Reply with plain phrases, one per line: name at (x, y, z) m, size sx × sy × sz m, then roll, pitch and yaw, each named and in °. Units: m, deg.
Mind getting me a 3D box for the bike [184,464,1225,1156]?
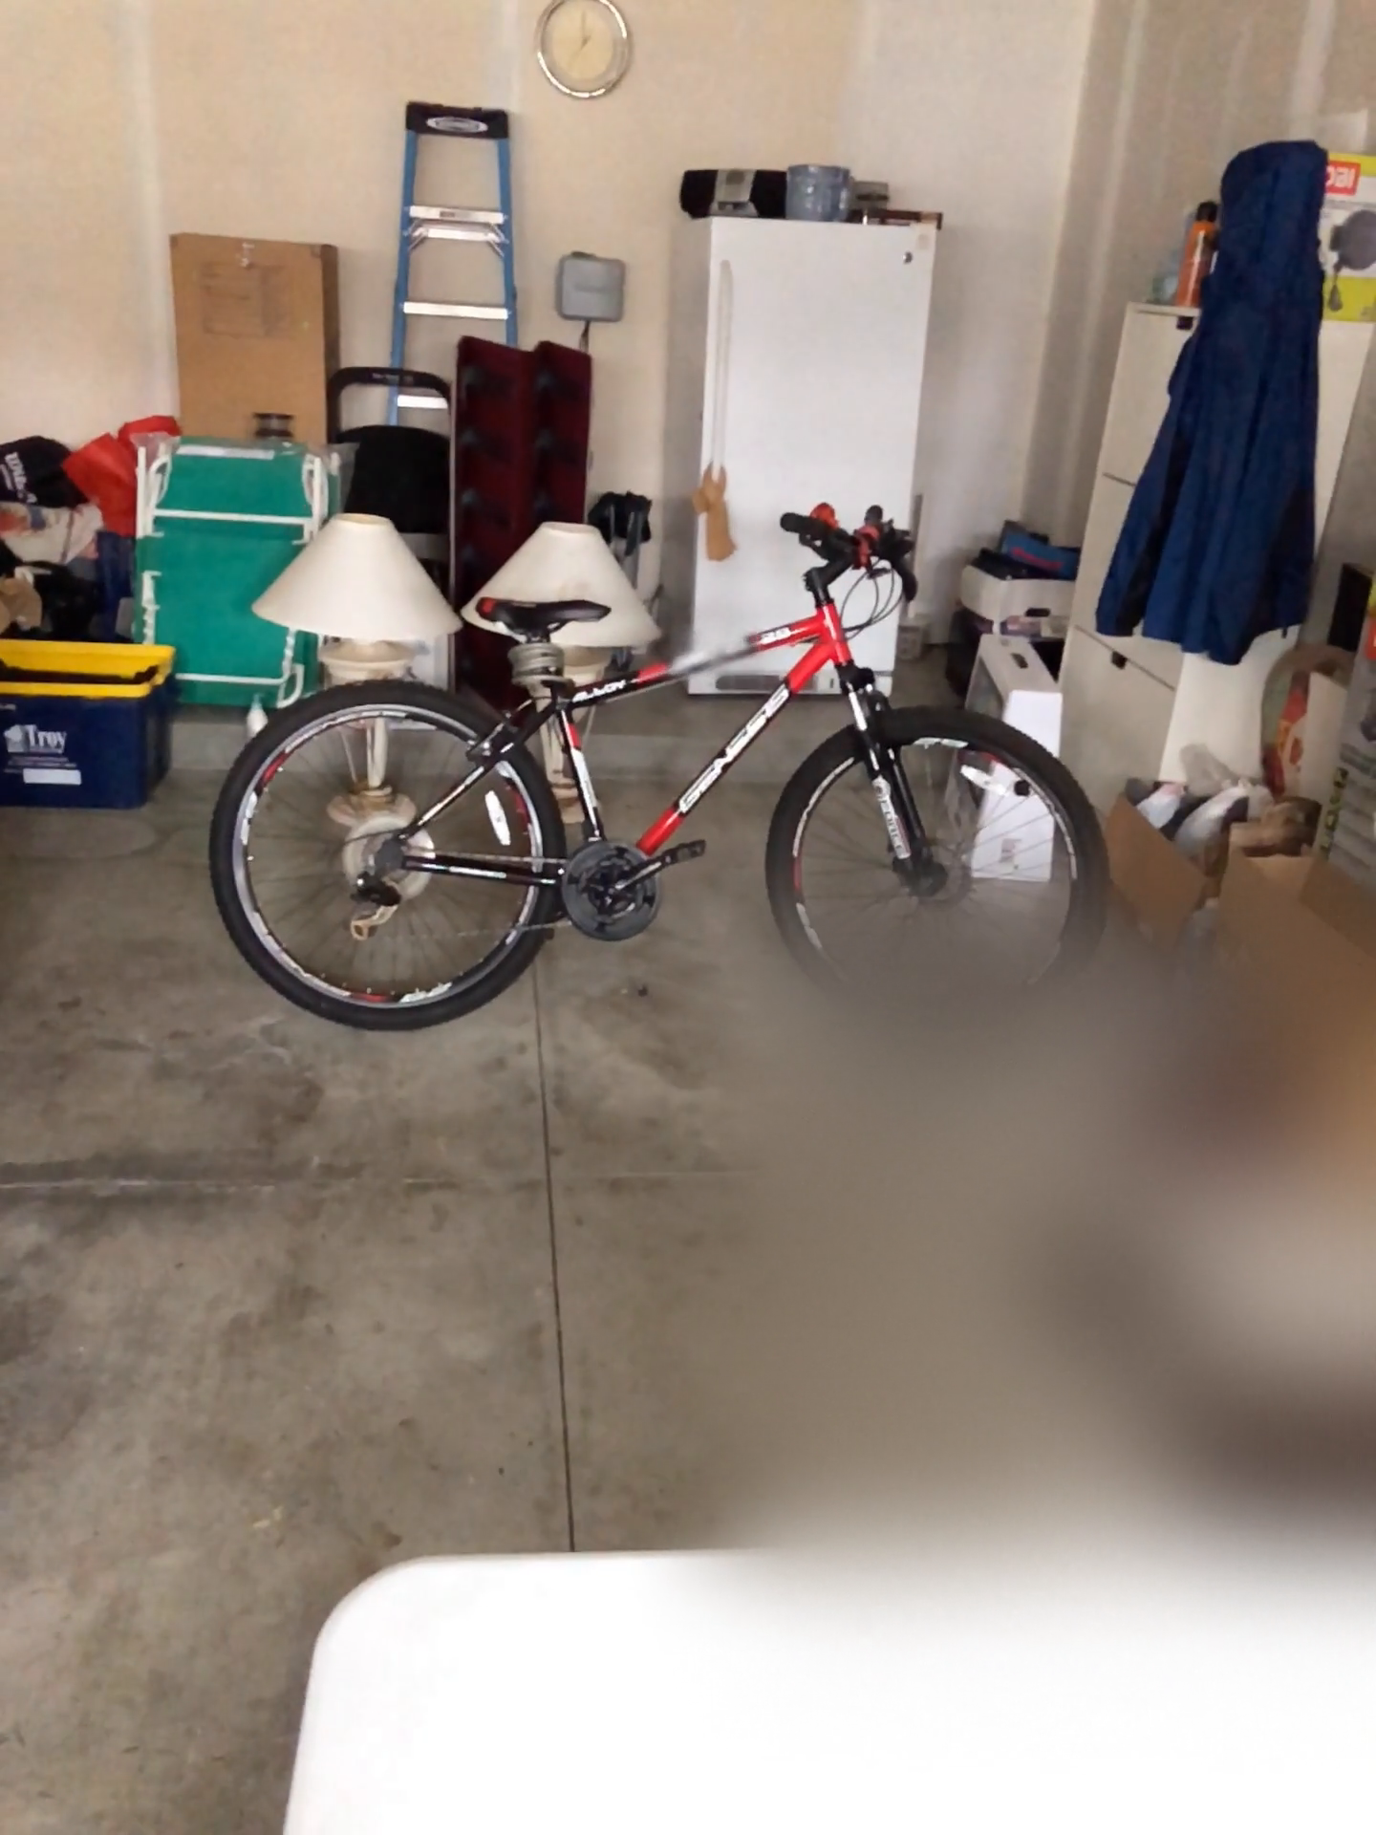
bike at (-0.060, -0.229, 2.886) m, size 1.668 × 1.054 × 0.592 m, roll 4°, pitch 22°, yaw 0°
